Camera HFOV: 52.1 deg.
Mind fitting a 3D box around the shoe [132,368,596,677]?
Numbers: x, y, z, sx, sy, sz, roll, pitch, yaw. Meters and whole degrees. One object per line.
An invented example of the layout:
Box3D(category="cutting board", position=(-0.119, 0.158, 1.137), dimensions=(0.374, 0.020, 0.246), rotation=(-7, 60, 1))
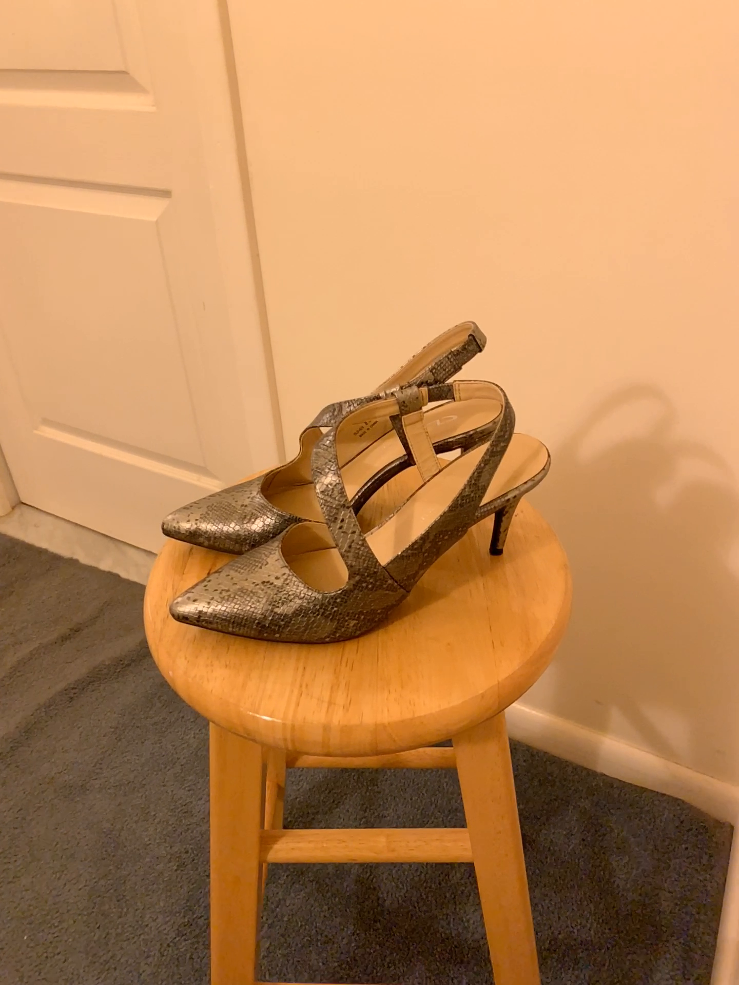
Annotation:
Box3D(category="shoe", position=(-0.007, 0.011, 0.466), dimensions=(0.250, 0.106, 0.103), rotation=(-11, 35, -11))

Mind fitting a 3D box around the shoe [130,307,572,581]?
Box3D(category="shoe", position=(-0.012, -0.038, 0.530), dimensions=(0.269, 0.124, 0.101), rotation=(-8, 34, -7))
